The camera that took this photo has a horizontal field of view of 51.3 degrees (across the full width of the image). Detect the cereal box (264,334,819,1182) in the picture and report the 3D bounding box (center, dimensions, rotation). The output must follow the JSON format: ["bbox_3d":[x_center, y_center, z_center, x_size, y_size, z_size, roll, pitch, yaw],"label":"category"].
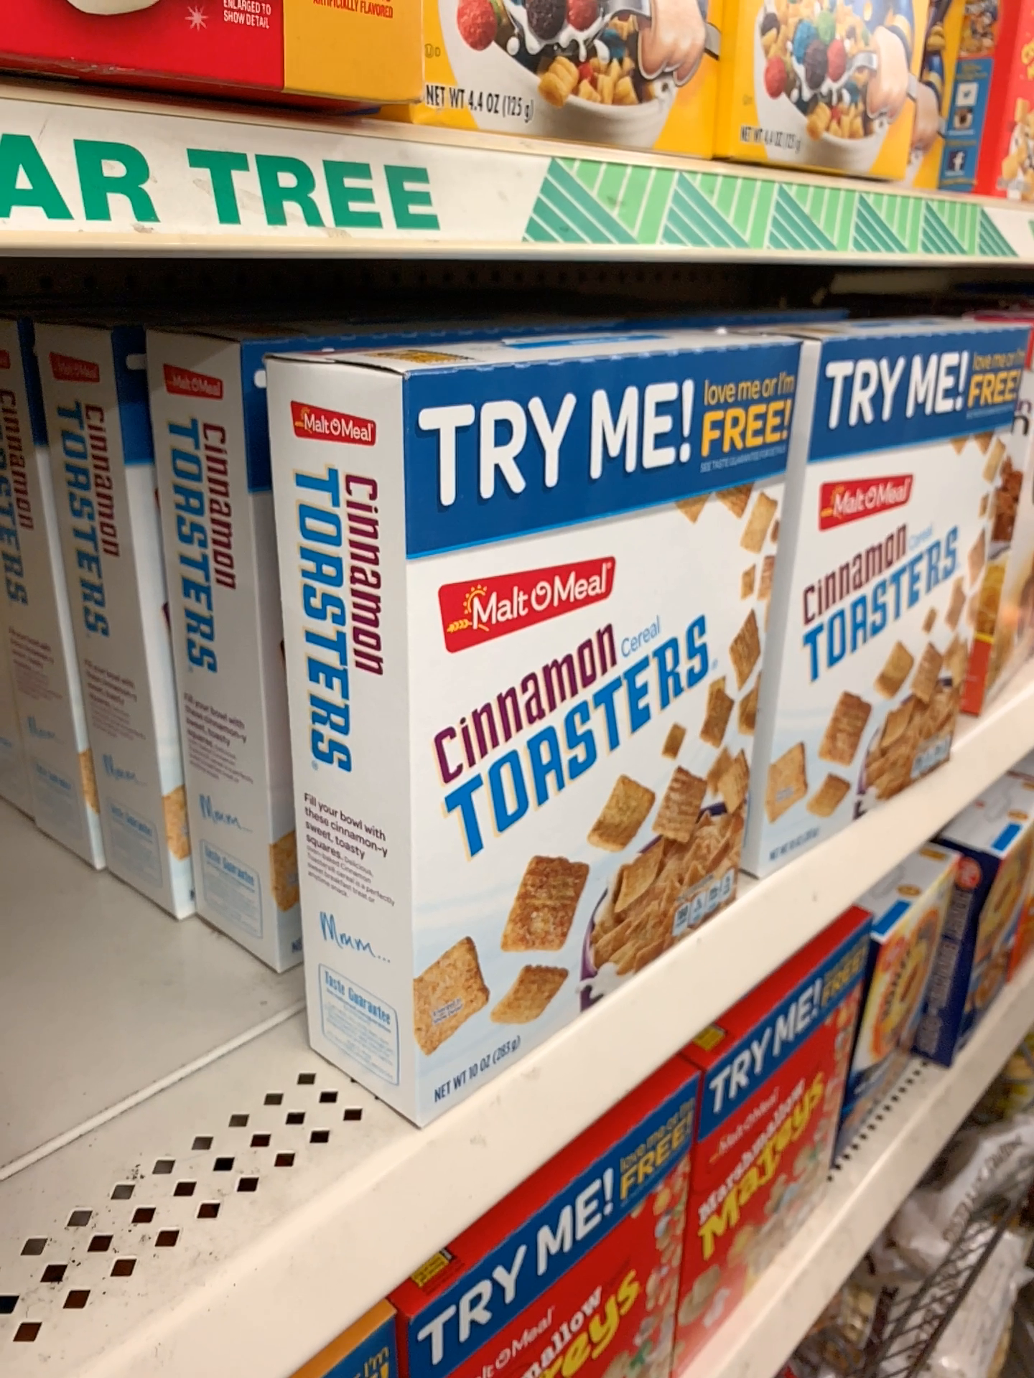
[{"bbox_3d":[0.014,0.006,0.326,0.050,0.209,0.170,20,28,37],"label":"cereal box"}]
